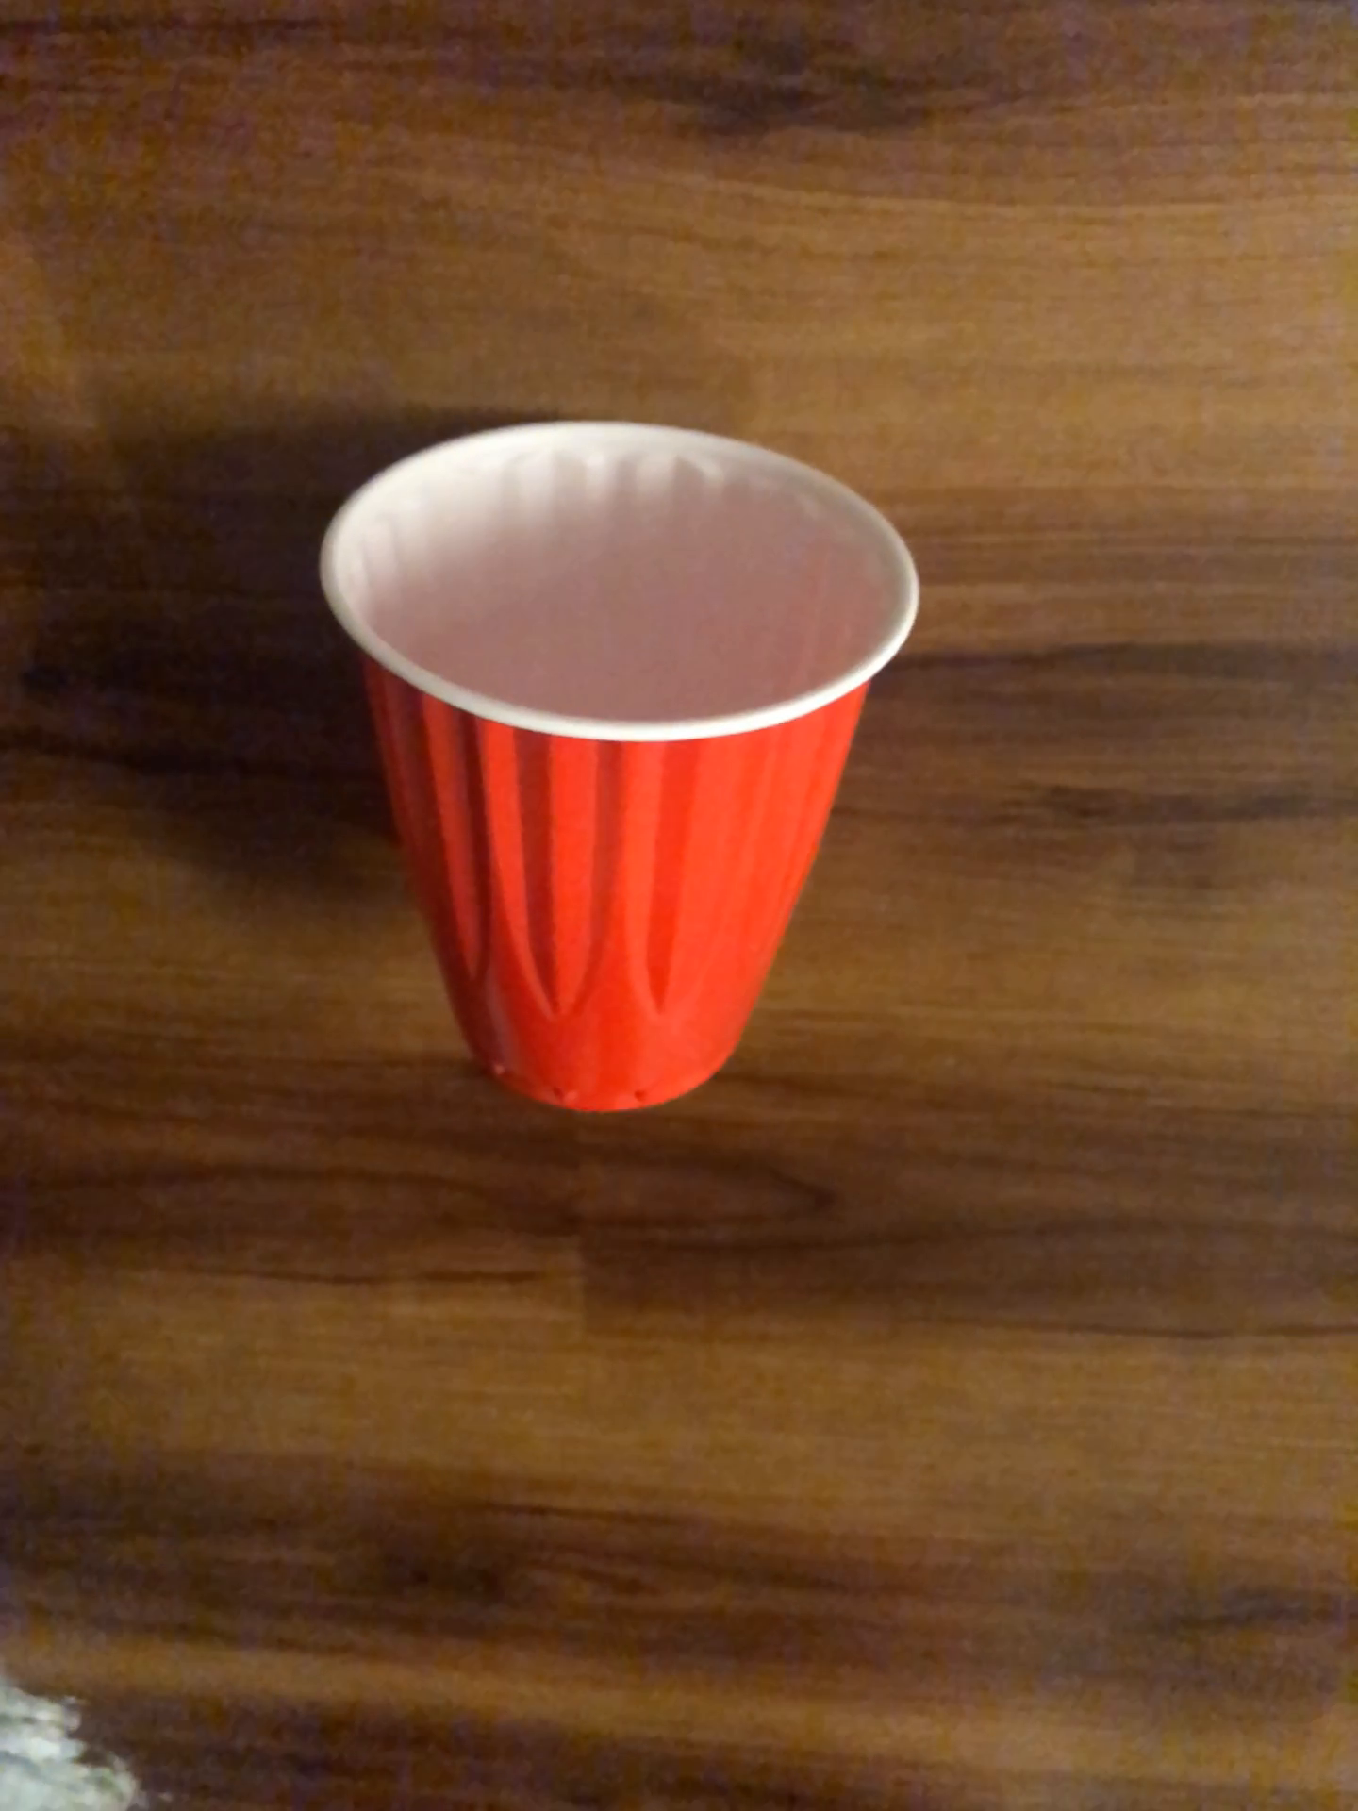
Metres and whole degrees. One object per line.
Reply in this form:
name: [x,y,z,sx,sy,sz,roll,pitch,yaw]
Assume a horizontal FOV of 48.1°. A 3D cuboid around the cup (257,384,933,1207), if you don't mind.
cup: [-0.014,-0.020,0.293,0.099,0.089,0.115,8,132,0]
